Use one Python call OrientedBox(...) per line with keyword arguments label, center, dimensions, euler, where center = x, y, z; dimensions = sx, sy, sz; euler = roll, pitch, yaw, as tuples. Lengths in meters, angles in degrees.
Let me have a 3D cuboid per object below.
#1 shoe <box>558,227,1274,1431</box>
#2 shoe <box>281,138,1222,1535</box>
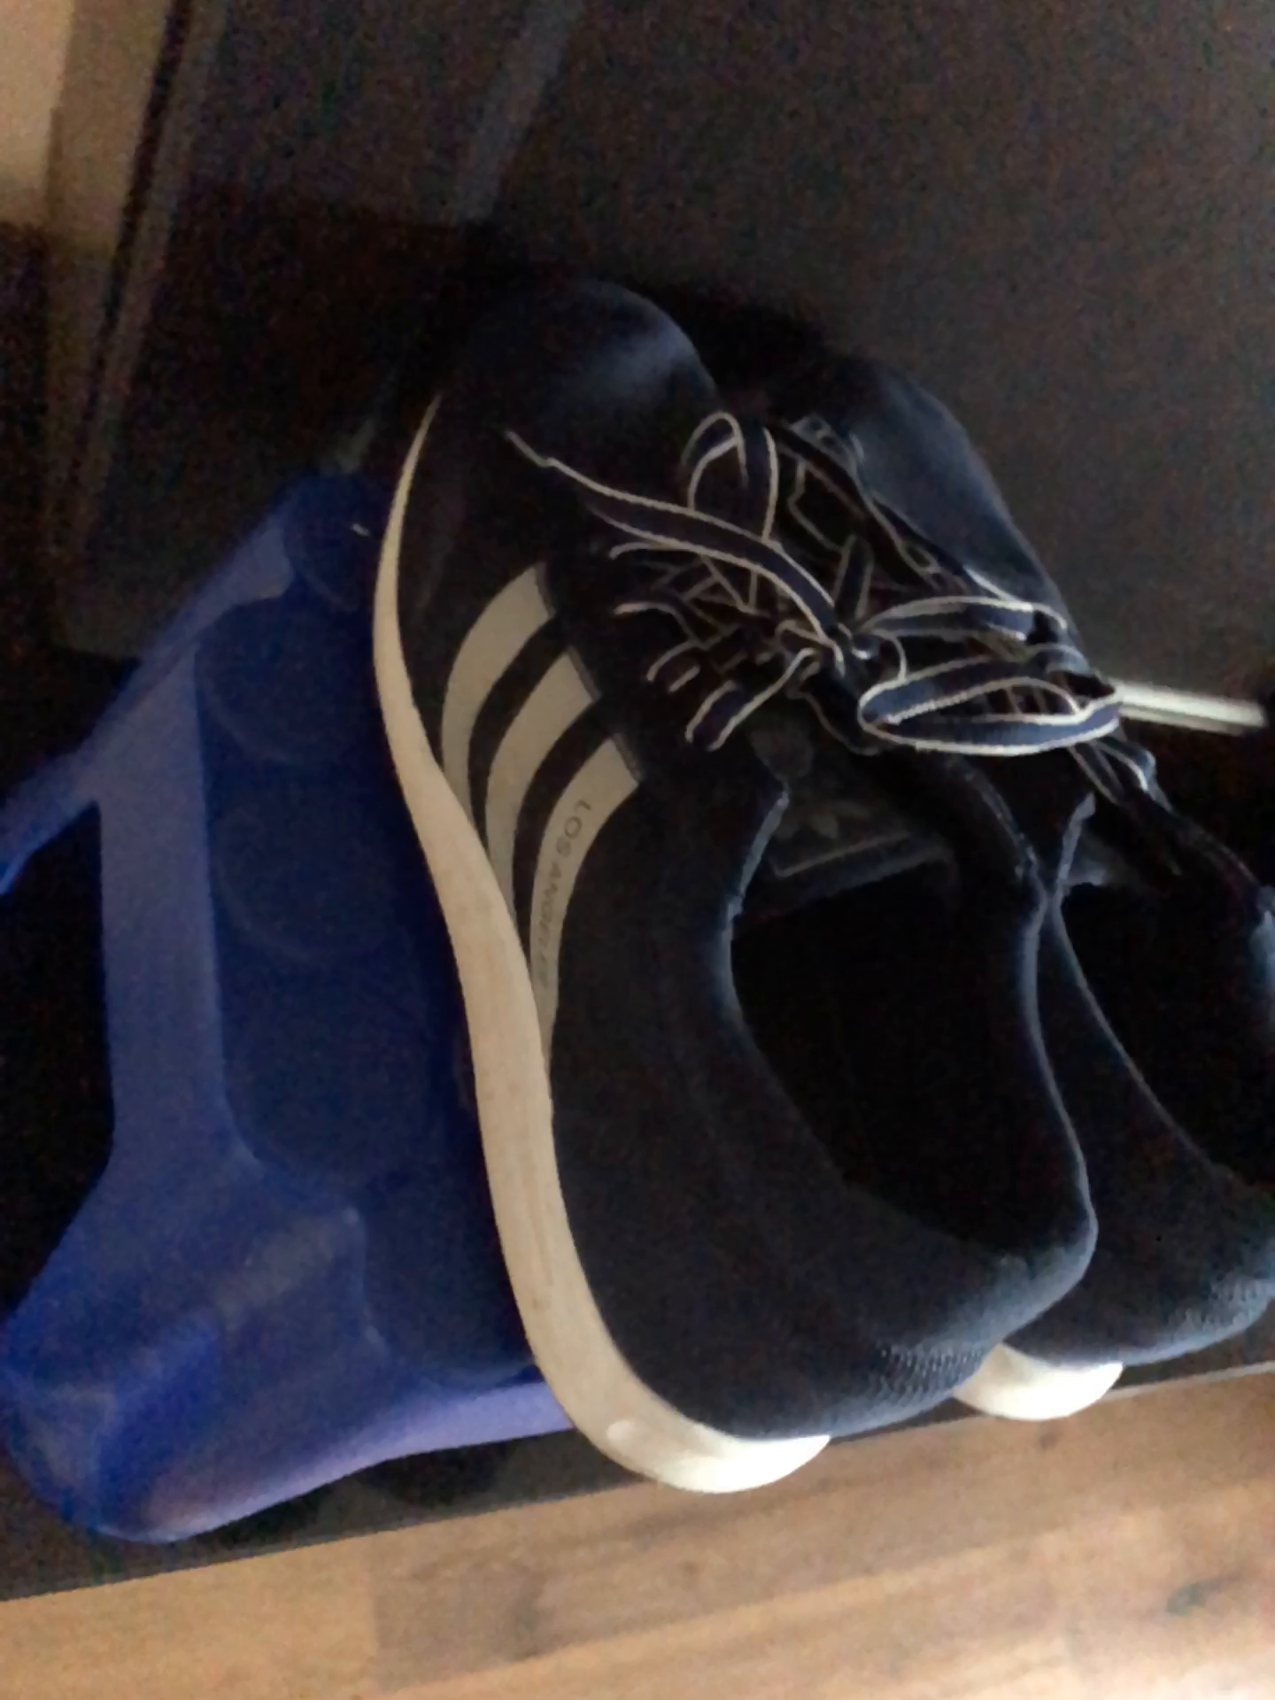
OrientedBox(label="shoe", center=(0.070, -0.006, 0.359), dimensions=(0.110, 0.109, 0.261), euler=(4, 63, -29))
OrientedBox(label="shoe", center=(0.004, -0.005, 0.315), dimensions=(0.110, 0.109, 0.261), euler=(1, 65, -30))
